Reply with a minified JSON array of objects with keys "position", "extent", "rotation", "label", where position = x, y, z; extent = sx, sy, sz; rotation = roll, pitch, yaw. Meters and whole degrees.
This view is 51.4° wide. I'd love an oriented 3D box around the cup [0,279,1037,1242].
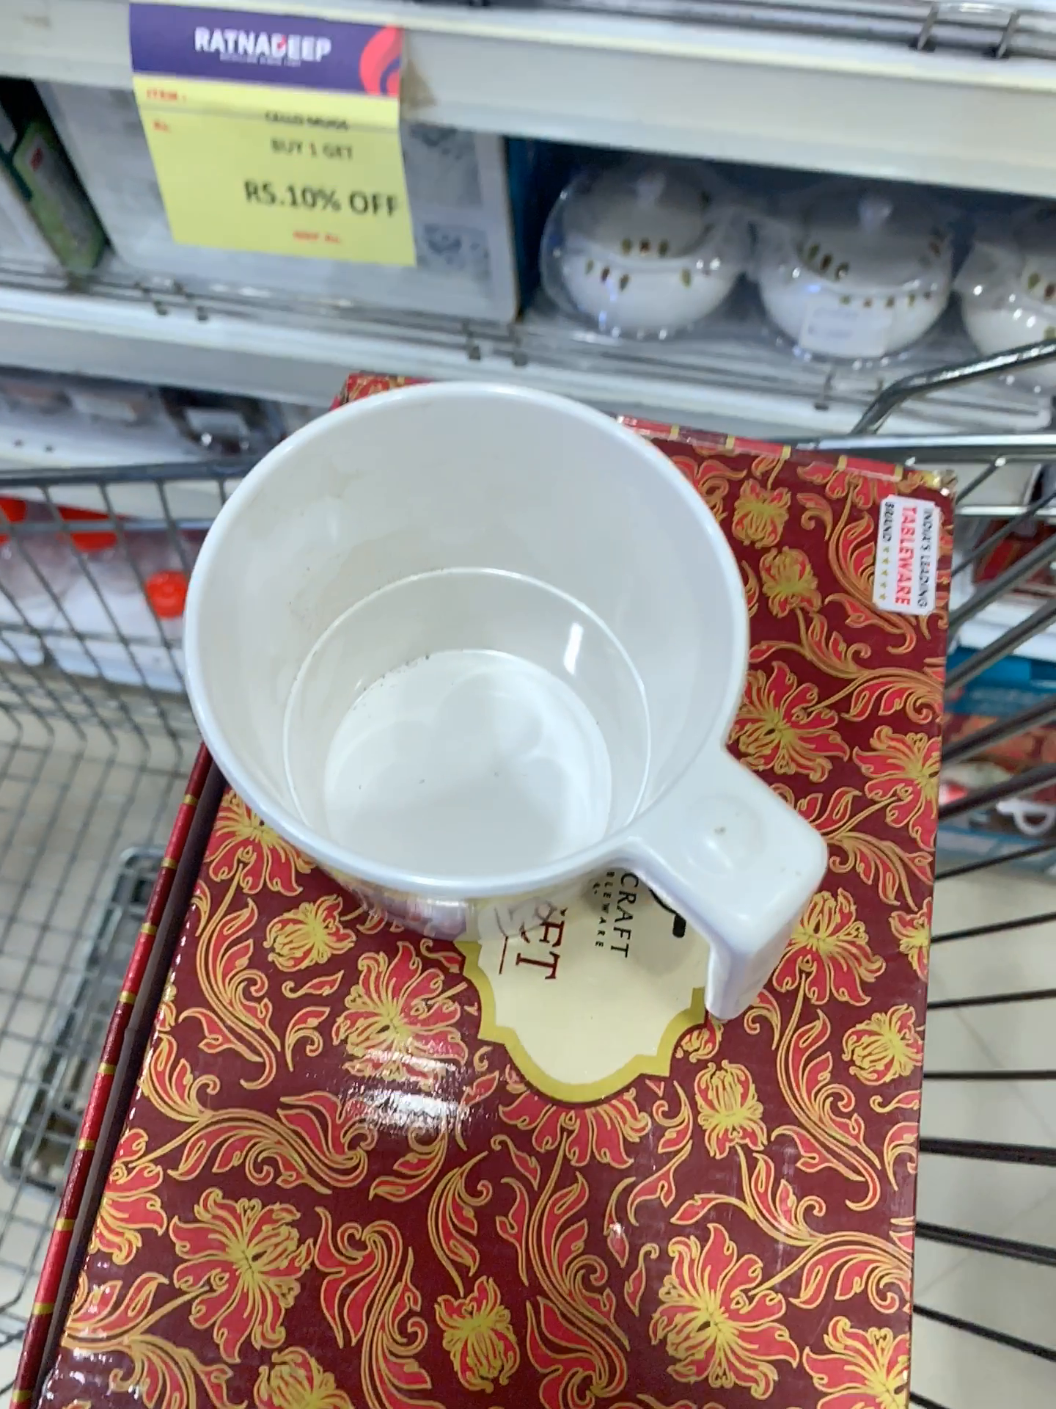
[{"position":[-0.002,0.011,0.180],"extent":[0.110,0.080,0.080],"rotation":[37,74,13],"label":"cup"}]
